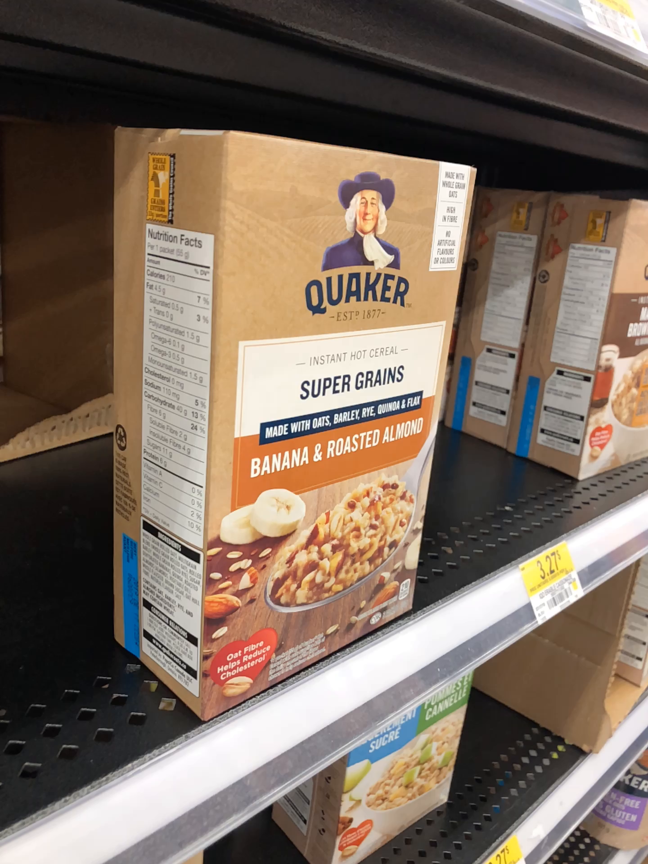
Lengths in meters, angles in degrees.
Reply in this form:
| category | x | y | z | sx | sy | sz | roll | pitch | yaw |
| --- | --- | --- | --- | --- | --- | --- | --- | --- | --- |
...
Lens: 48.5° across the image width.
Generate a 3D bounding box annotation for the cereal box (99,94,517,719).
| category | x | y | z | sx | sy | sz | roll | pitch | yaw |
| --- | --- | --- | --- | --- | --- | --- | --- | --- | --- |
| cereal box | -0.008 | -0.016 | 0.276 | 0.070 | 0.189 | 0.130 | 23 | 25 | 39 |
